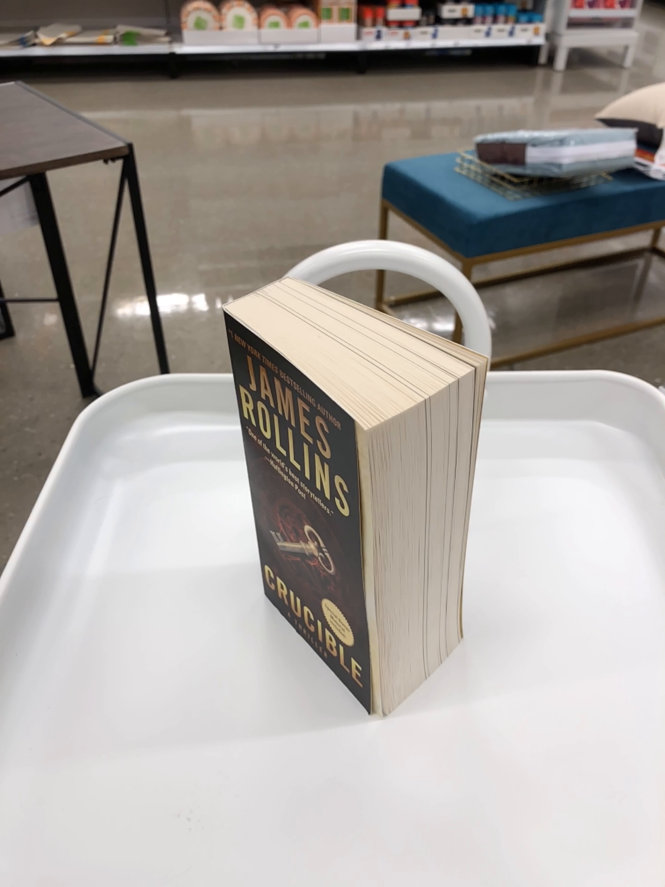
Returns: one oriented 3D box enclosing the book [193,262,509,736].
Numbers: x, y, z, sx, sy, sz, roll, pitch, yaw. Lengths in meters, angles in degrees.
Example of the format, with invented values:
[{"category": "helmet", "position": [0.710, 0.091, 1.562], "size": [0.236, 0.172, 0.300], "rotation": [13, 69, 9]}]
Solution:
[{"category": "book", "position": [0.005, 0.029, 0.348], "size": [0.066, 0.184, 0.113], "rotation": [-29, 47, -29]}]
